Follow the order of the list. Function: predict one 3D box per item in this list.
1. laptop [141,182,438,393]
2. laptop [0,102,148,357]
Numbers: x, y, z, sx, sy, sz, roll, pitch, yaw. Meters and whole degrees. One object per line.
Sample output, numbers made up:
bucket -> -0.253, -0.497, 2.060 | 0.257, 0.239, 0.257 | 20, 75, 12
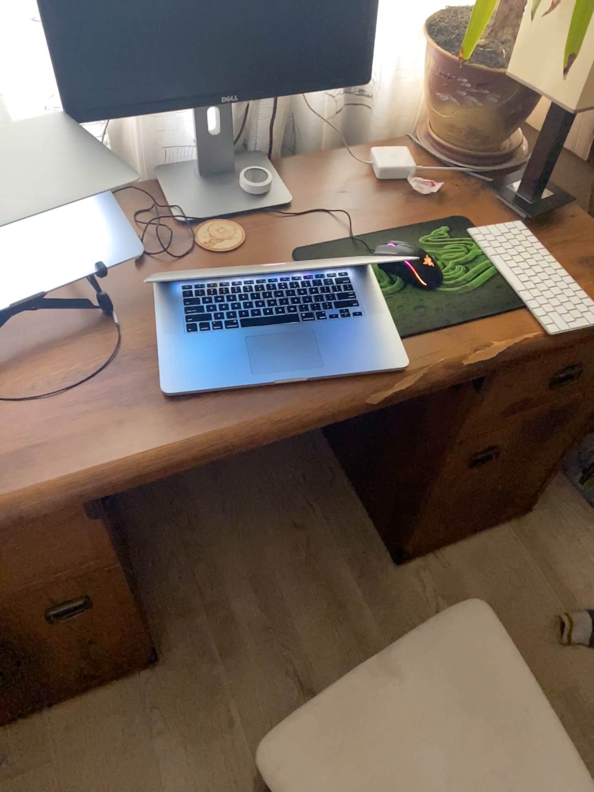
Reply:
laptop -> -0.025, -0.161, 0.853 | 0.355, 0.152, 0.236 | -6, 52, -9
laptop -> -0.418, -0.235, 0.790 | 0.356, 0.022, 0.243 | -30, 83, -25
